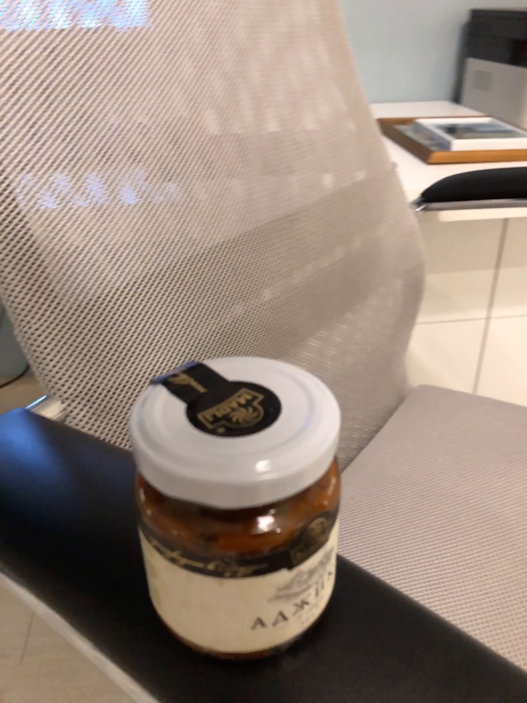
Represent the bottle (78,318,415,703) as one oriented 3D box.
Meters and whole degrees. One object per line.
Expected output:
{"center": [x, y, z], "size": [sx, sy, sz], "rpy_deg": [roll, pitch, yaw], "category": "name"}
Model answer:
{"center": [-0.005, 0.041, 0.163], "size": [0.060, 0.069, 0.060], "rpy_deg": [-24, 38, -33], "category": "bottle"}
